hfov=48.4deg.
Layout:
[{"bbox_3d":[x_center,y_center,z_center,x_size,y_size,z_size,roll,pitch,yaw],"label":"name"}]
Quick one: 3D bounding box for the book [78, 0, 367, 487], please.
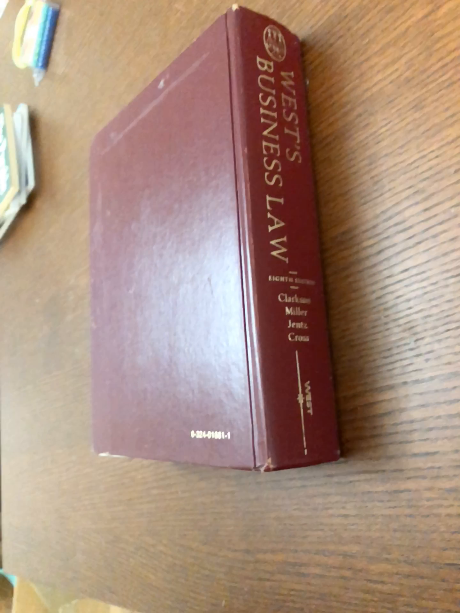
[{"bbox_3d":[-0.029,-0.038,0.367,0.221,0.070,0.290,-15,73,49],"label":"book"}]
